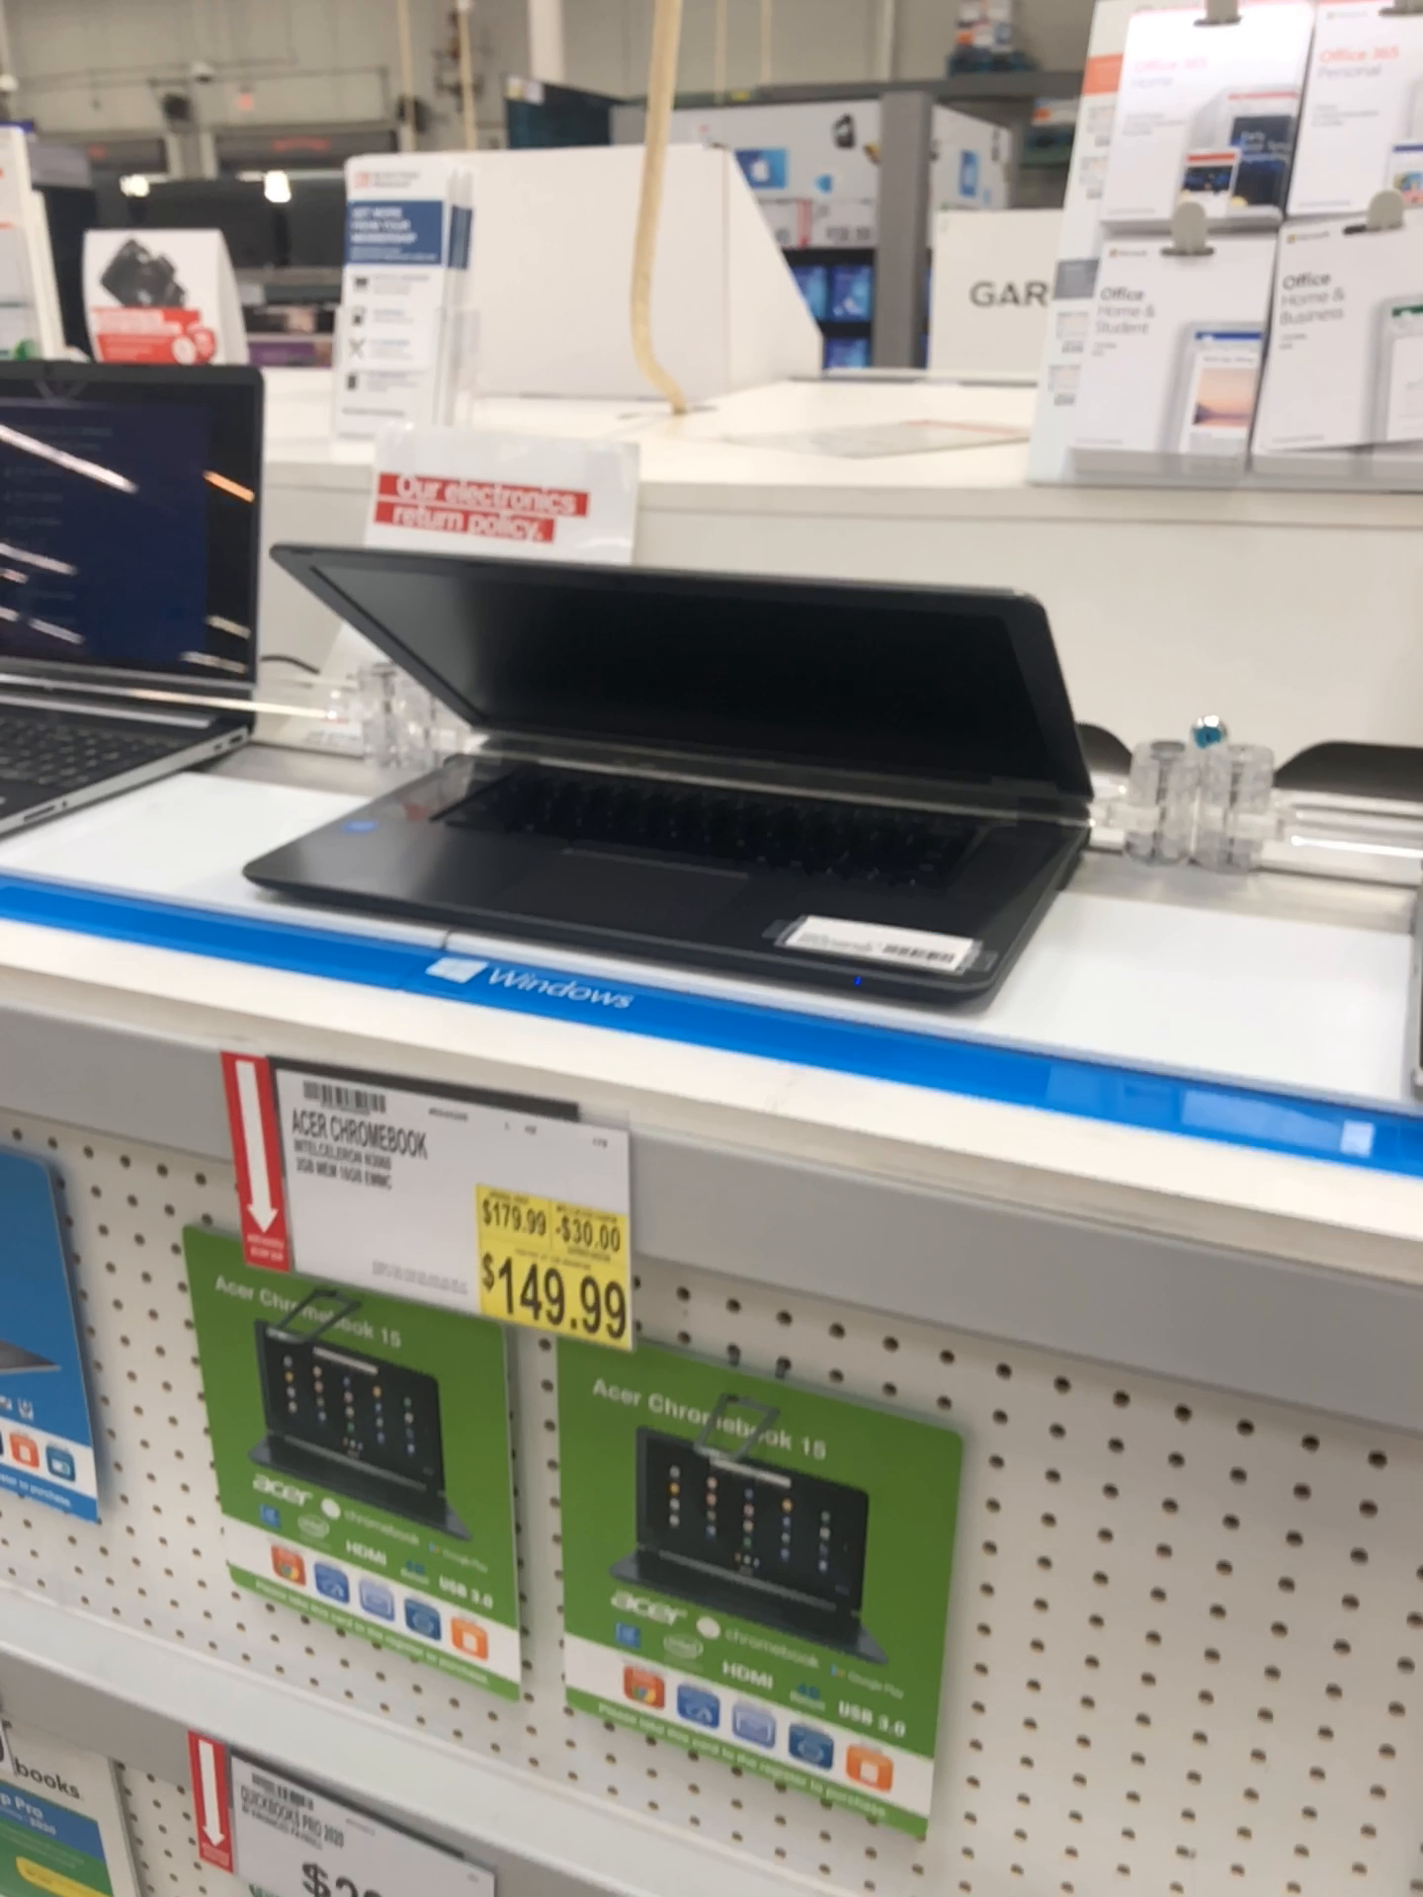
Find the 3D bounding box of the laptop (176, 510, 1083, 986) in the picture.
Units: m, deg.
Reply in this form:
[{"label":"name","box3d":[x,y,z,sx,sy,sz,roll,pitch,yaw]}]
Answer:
[{"label":"laptop","box3d":[-0.031,-0.117,0.759,0.364,0.136,0.220,9,26,22]}]

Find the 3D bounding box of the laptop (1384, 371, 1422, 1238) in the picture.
[{"label":"laptop","box3d":[0.455,-0.086,0.576,0.317,0.208,0.291,9,24,26]}]
